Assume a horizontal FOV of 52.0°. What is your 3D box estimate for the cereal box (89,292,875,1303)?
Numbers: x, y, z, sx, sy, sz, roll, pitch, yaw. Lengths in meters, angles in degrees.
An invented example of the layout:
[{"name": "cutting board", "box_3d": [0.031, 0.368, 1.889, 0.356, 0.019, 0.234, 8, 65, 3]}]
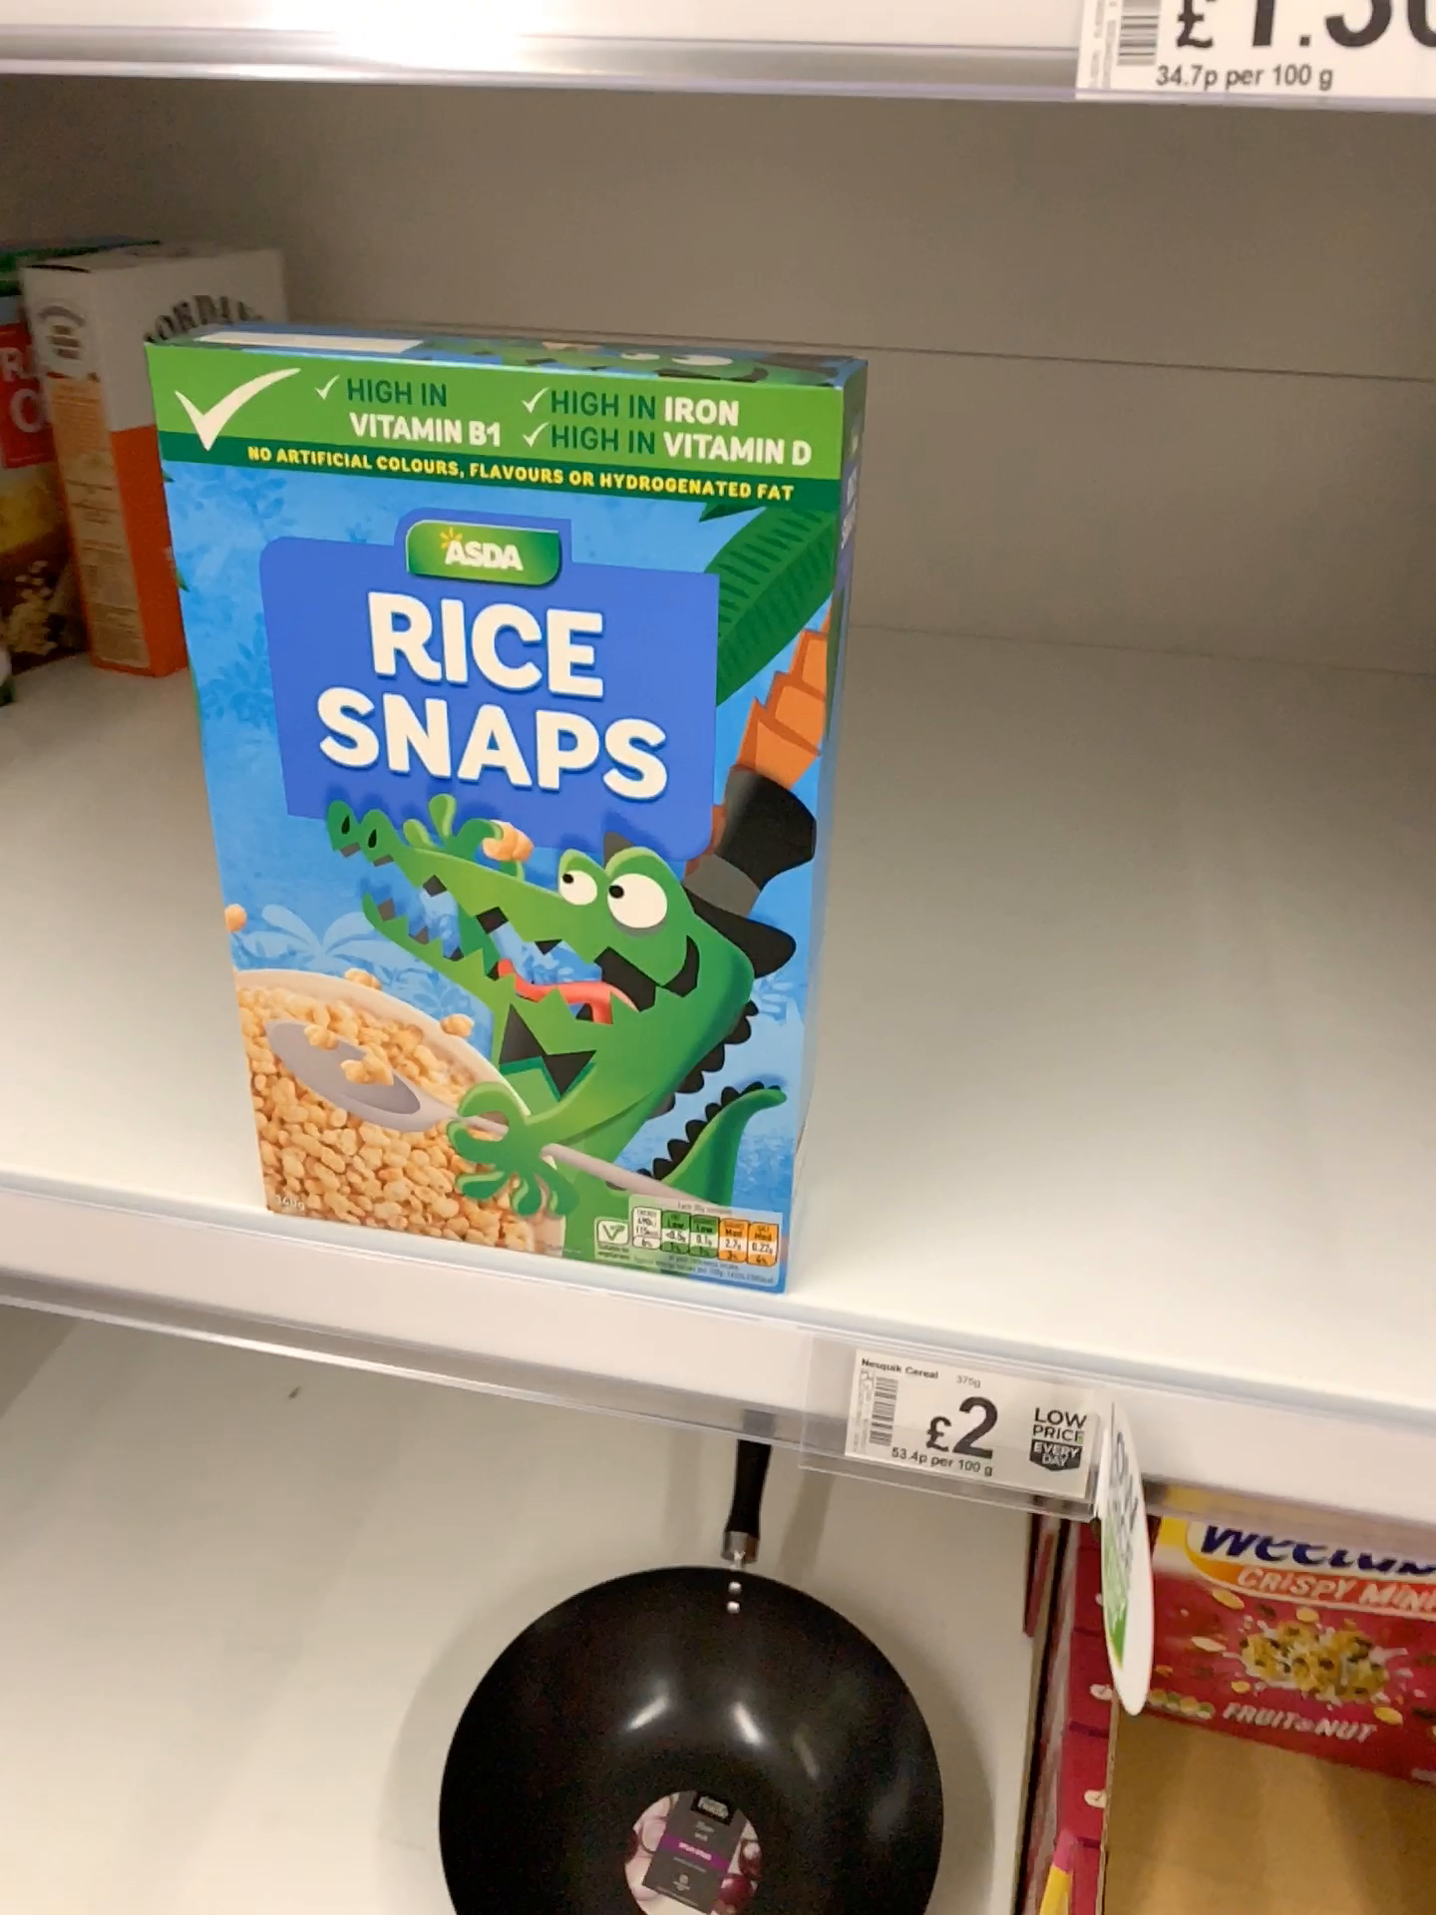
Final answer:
[{"name": "cereal box", "box_3d": [-0.061, -0.040, 0.455, 0.190, 0.287, 0.071, 7, 30, 9]}]
